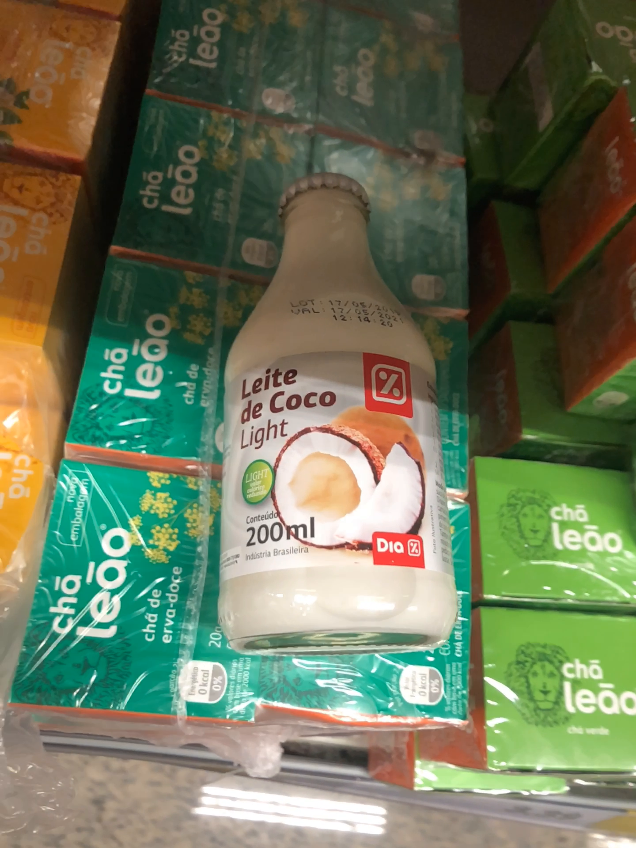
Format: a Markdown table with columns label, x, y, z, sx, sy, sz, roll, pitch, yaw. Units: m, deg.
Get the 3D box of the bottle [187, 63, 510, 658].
| label | x | y | z | sx | sy | sz | roll | pitch | yaw |
| --- | --- | --- | --- | --- | --- | --- | --- | --- | --- |
| bottle | 0.001 | -0.019 | 0.207 | 0.070 | 0.050 | 0.160 | 3 | 68 | -13 |
